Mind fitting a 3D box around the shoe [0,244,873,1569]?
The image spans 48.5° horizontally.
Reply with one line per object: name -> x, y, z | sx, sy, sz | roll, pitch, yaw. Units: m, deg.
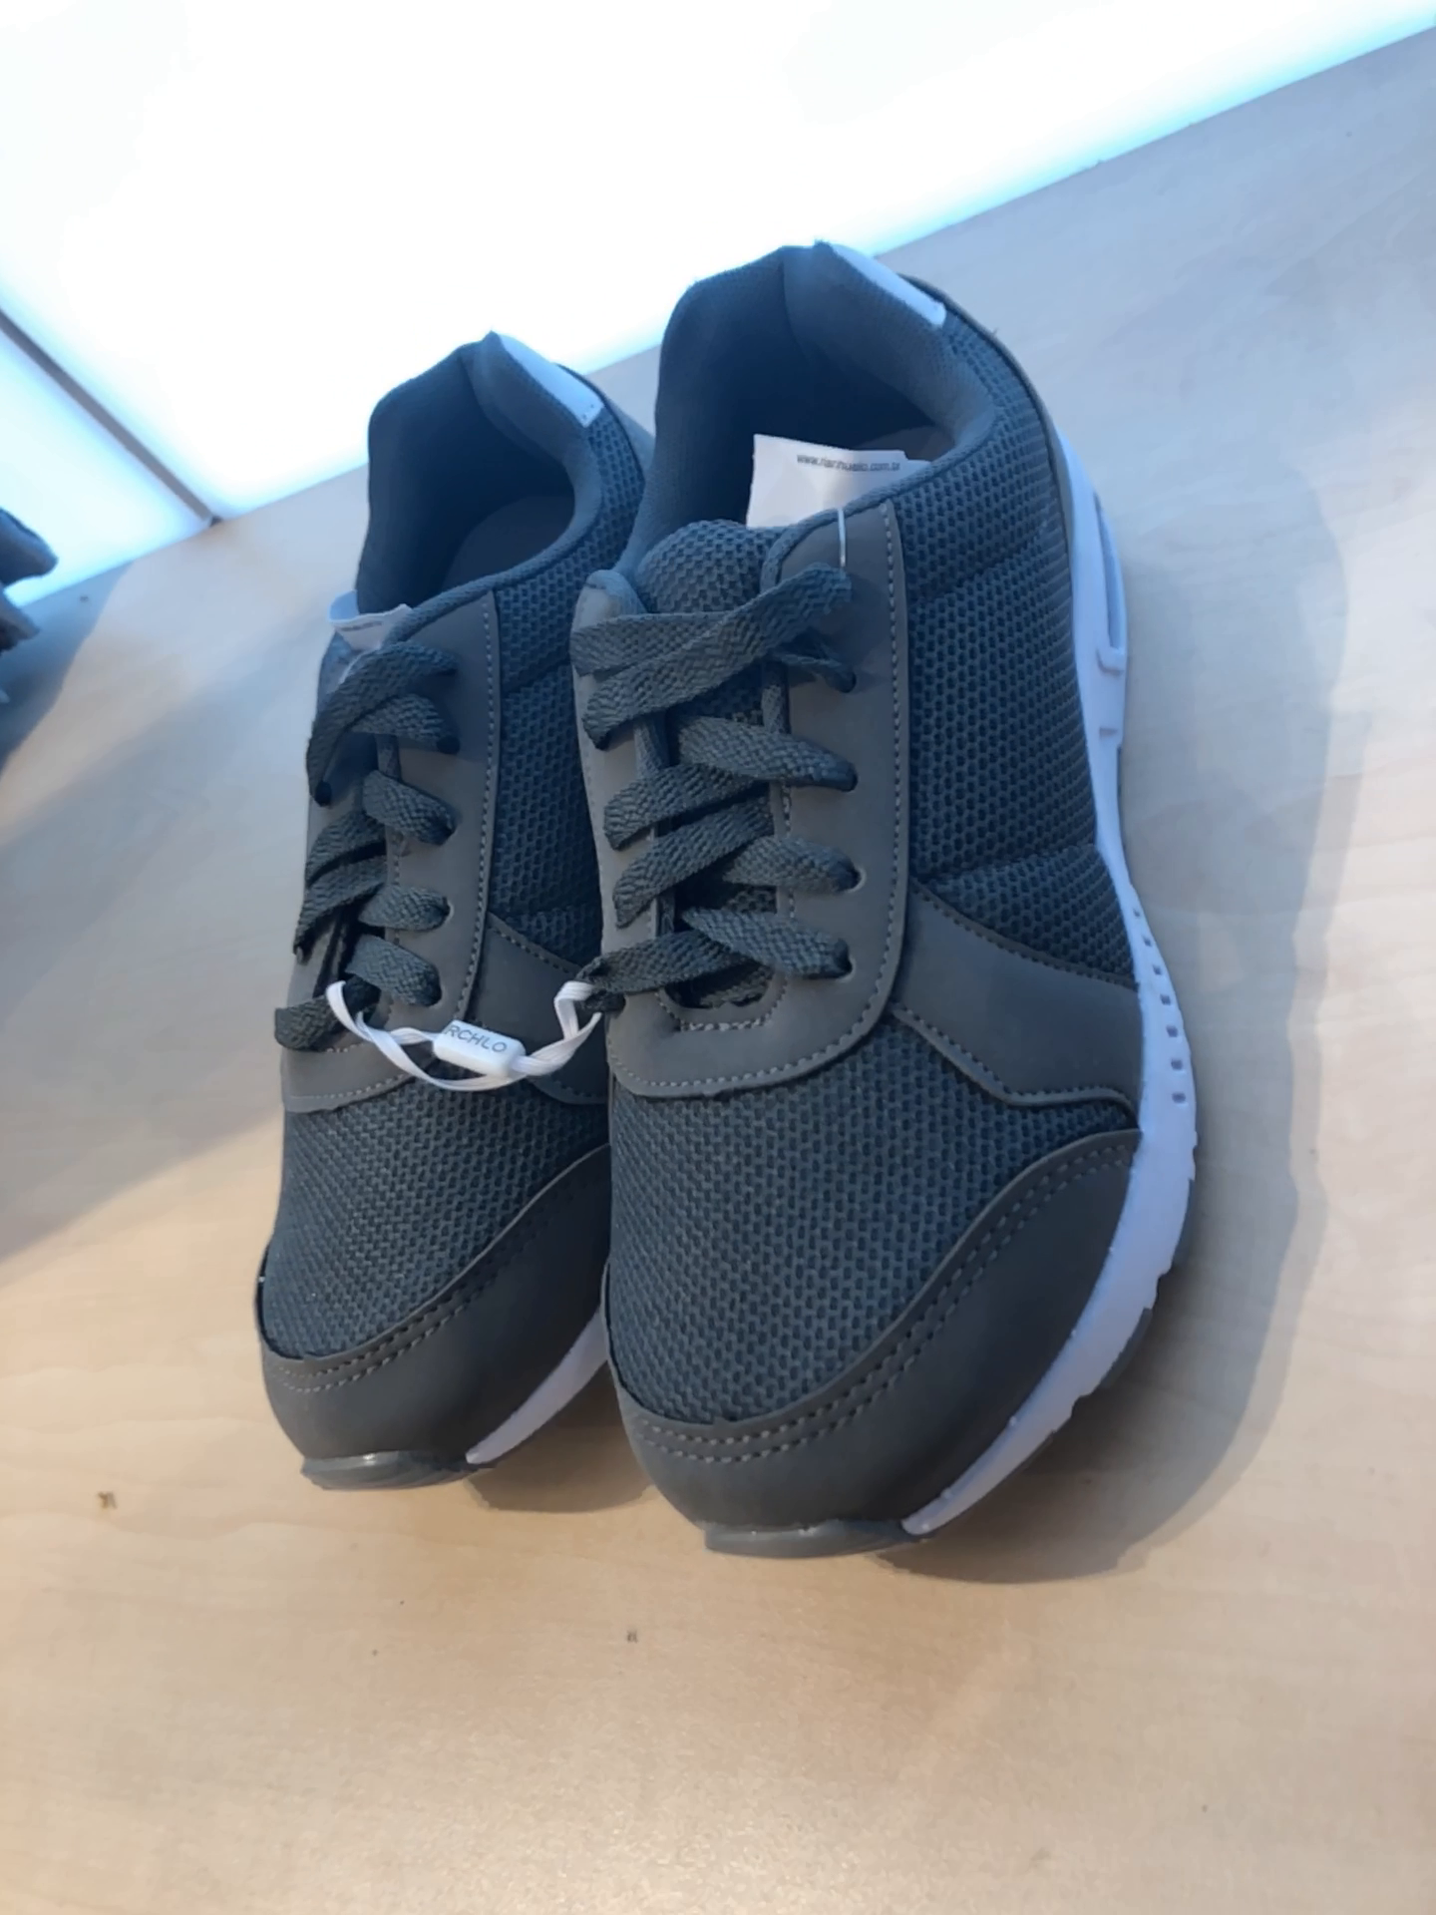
shoe -> -0.046, -0.011, 0.321 | 0.100, 0.099, 0.231 | -10, 55, 30

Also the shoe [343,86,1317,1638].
shoe -> 0.031, -0.019, 0.282 | 0.100, 0.099, 0.241 | -12, 54, 29
